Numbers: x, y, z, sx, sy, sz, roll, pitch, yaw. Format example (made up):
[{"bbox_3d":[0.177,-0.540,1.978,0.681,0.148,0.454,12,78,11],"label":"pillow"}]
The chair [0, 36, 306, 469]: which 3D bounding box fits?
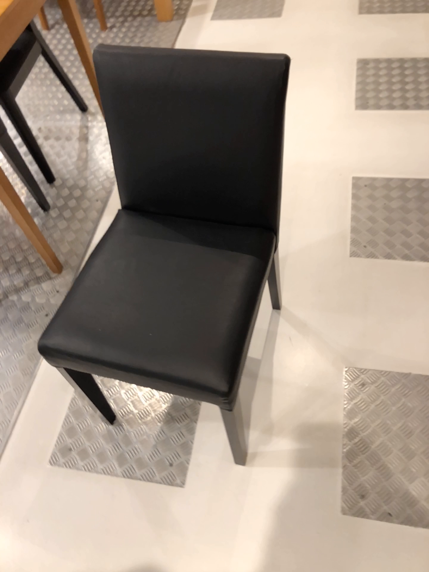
[{"bbox_3d":[-0.093,-0.019,1.117,0.470,0.826,0.552,12,58,16],"label":"chair"}]
